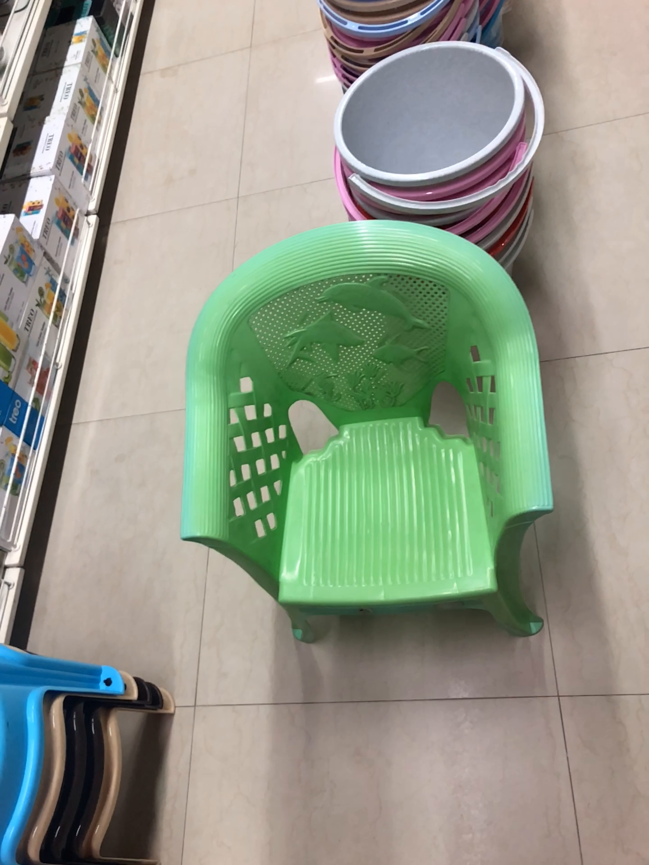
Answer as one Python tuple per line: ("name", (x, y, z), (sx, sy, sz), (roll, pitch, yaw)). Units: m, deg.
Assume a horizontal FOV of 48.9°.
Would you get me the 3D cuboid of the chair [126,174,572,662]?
("chair", (0.081, 0.011, 0.941), (0.431, 0.398, 0.472), (-2, 63, 17))
